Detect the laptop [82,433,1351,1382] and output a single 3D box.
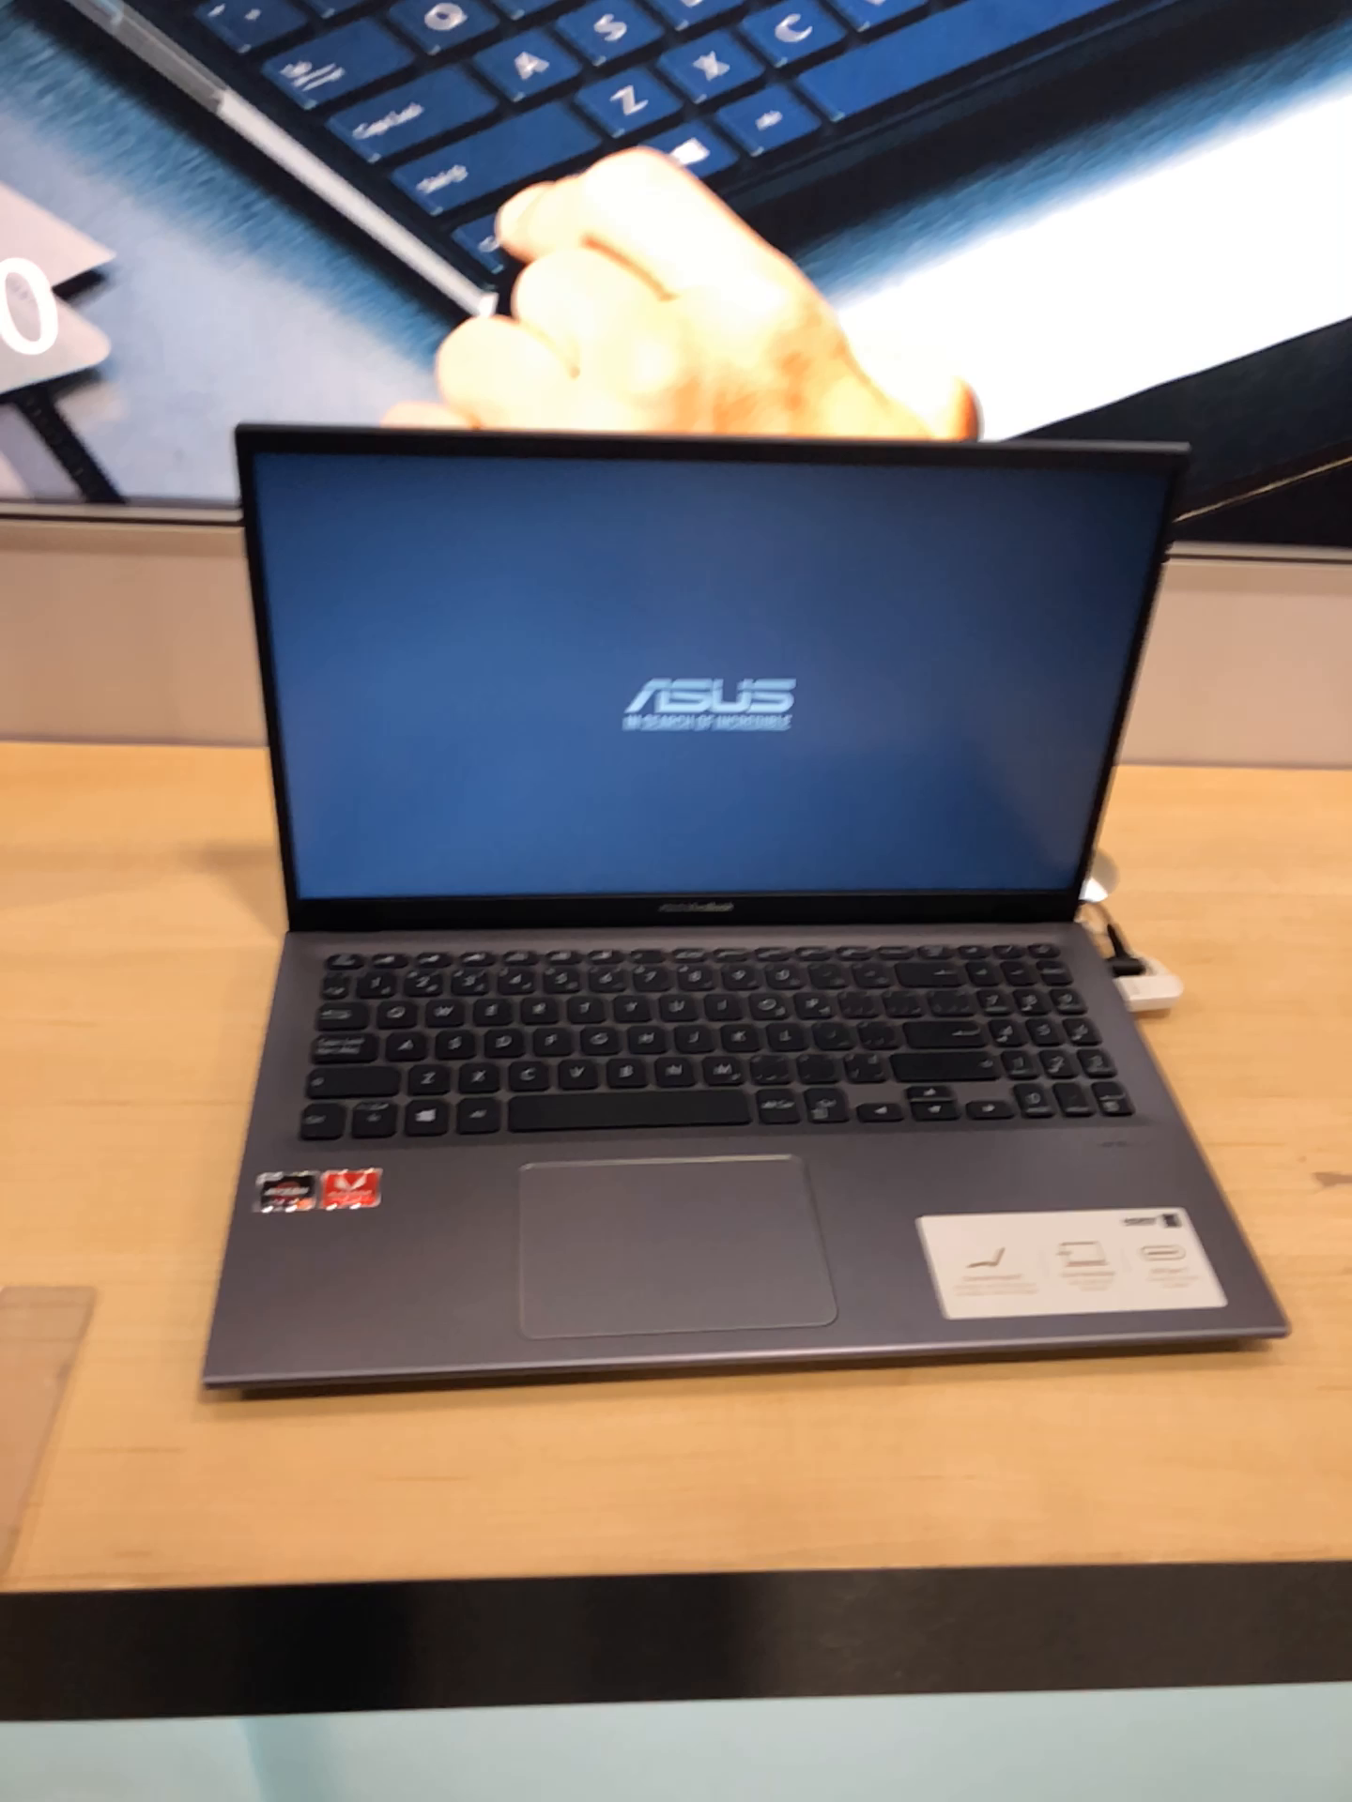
[{"bbox_3d":[0.025,-0.009,0.505,0.349,0.211,0.243,0,36,-6],"label":"laptop"}]
